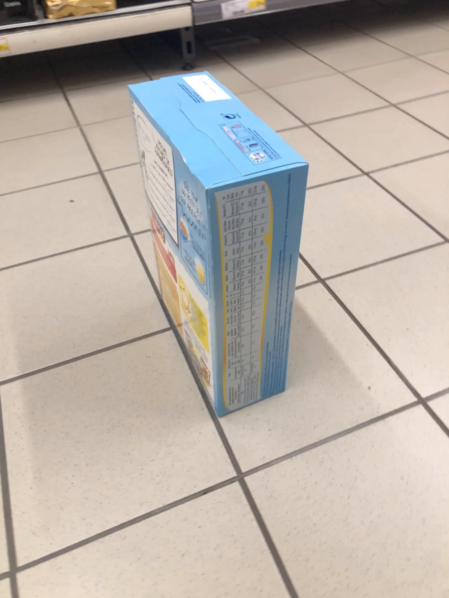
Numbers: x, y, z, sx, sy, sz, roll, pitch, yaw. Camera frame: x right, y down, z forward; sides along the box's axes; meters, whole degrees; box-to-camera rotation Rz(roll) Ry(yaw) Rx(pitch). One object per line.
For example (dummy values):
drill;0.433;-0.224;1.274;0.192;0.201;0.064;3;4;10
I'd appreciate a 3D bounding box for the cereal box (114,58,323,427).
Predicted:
cereal box;-0.014;-0.049;0.469;0.090;0.268;0.201;-17;46;-16
